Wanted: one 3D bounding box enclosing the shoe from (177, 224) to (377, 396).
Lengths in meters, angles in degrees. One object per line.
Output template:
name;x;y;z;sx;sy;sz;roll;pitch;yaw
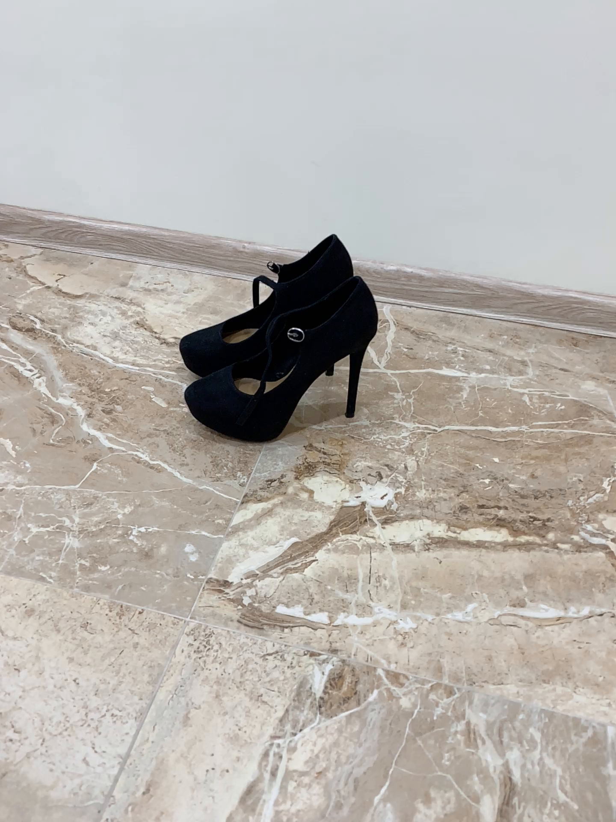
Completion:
shoe;-0.041;-0.121;0.753;0.210;0.169;0.090;-5;39;-11

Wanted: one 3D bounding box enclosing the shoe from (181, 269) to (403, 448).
shoe;-0.022;-0.057;0.677;0.210;0.159;0.080;-5;39;-11
